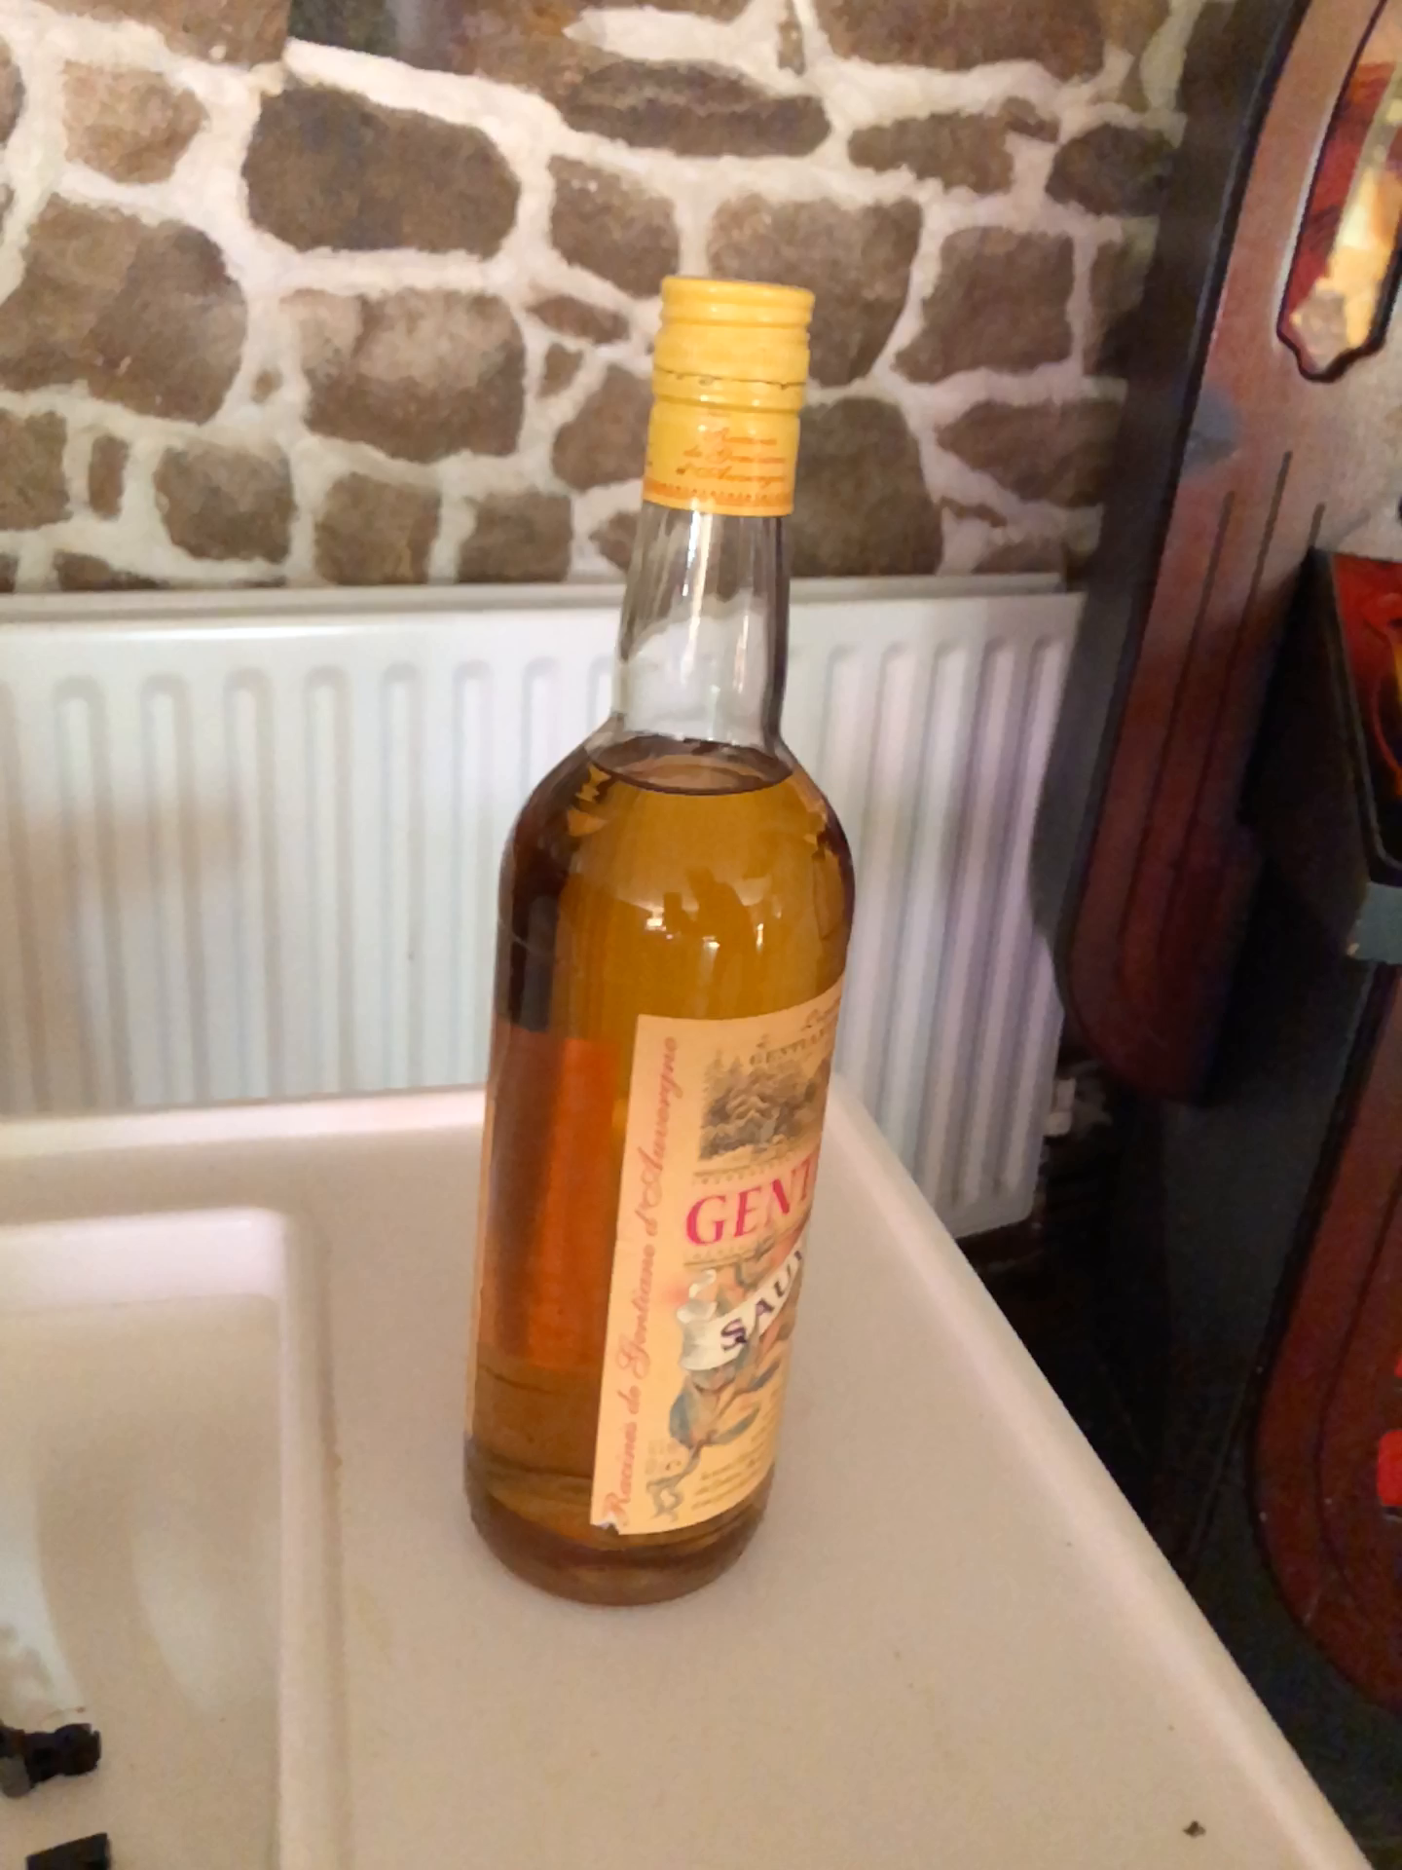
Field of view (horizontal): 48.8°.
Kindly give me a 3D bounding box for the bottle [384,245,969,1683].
[{"bbox_3d":[-0.011,0.011,0.352,0.080,0.298,0.091,14,24,22],"label":"bottle"}]
